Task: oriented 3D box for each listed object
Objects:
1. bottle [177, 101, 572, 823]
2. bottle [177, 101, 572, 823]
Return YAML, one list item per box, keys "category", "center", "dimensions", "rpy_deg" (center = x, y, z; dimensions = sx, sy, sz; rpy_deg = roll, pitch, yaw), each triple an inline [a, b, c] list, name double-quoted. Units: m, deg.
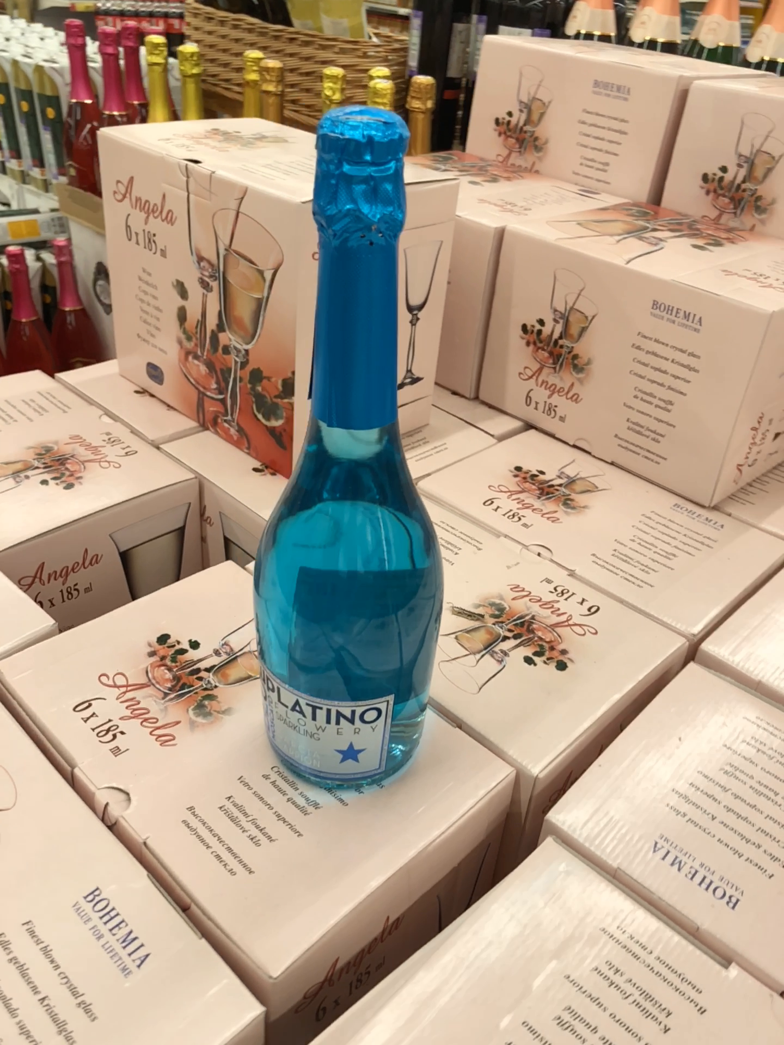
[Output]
- category: "bottle"
  center: [-0.013, -0.018, 0.374]
  dimensions: [0.100, 0.278, 0.100]
  rpy_deg: [4, 33, -3]
- category: "bottle"
  center: [-0.013, -0.018, 0.374]
  dimensions: [0.100, 0.278, 0.100]
  rpy_deg: [4, 33, -3]
